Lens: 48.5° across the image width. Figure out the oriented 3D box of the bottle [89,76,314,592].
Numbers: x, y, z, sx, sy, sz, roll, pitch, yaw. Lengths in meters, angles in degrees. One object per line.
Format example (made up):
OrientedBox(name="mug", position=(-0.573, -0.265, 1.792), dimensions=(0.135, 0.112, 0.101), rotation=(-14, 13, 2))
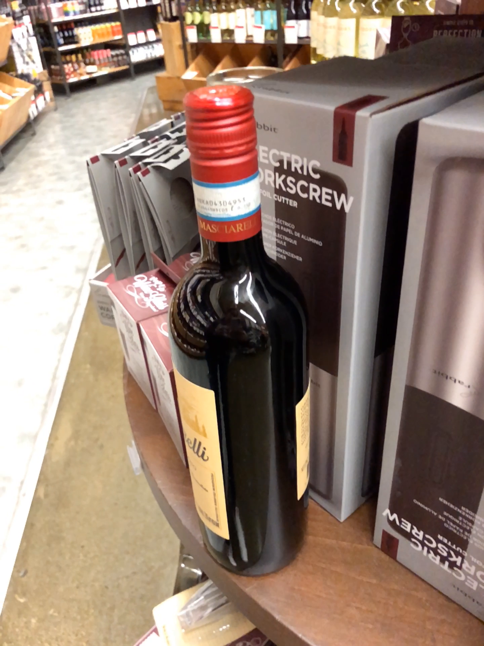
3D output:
OrientedBox(name="bottle", position=(-0.001, 0.029, 0.290), dimensions=(0.075, 0.283, 0.072), rotation=(-4, 33, 3))
